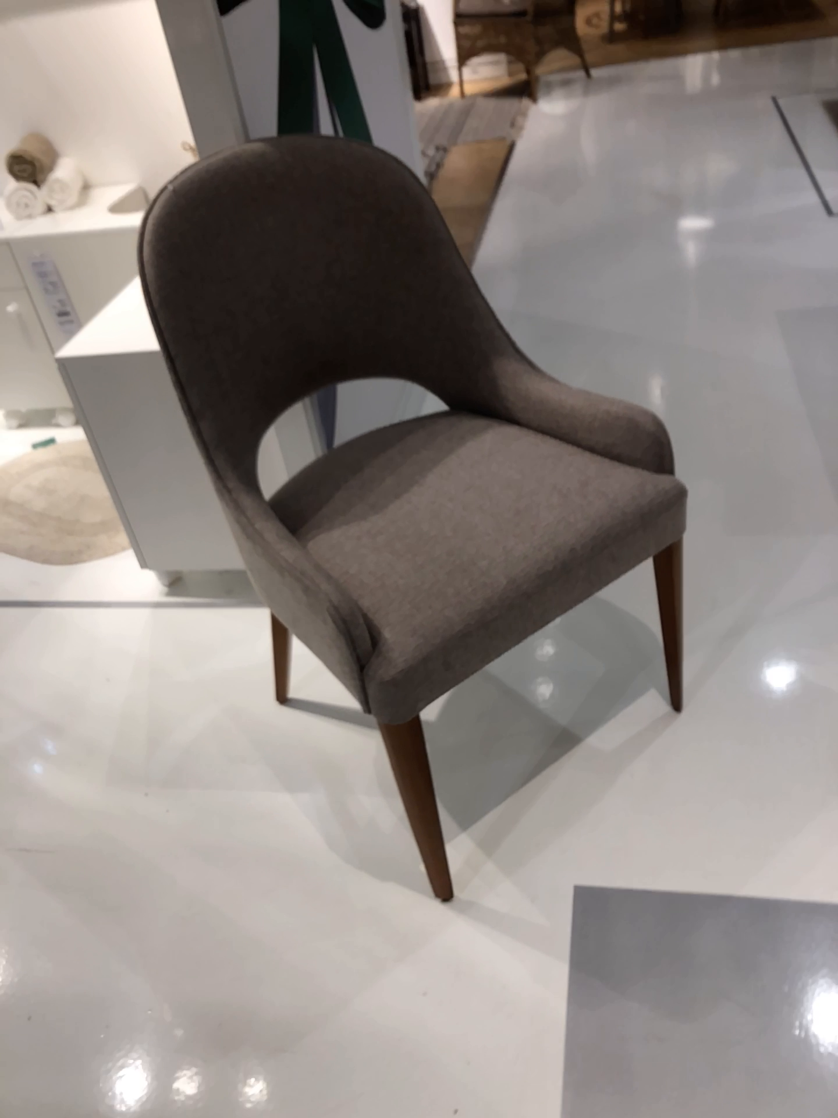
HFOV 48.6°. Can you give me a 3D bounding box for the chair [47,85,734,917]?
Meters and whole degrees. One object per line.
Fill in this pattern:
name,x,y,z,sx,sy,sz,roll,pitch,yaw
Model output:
chair,-0.001,-0.115,1.355,0.571,0.893,0.613,-30,41,-24
